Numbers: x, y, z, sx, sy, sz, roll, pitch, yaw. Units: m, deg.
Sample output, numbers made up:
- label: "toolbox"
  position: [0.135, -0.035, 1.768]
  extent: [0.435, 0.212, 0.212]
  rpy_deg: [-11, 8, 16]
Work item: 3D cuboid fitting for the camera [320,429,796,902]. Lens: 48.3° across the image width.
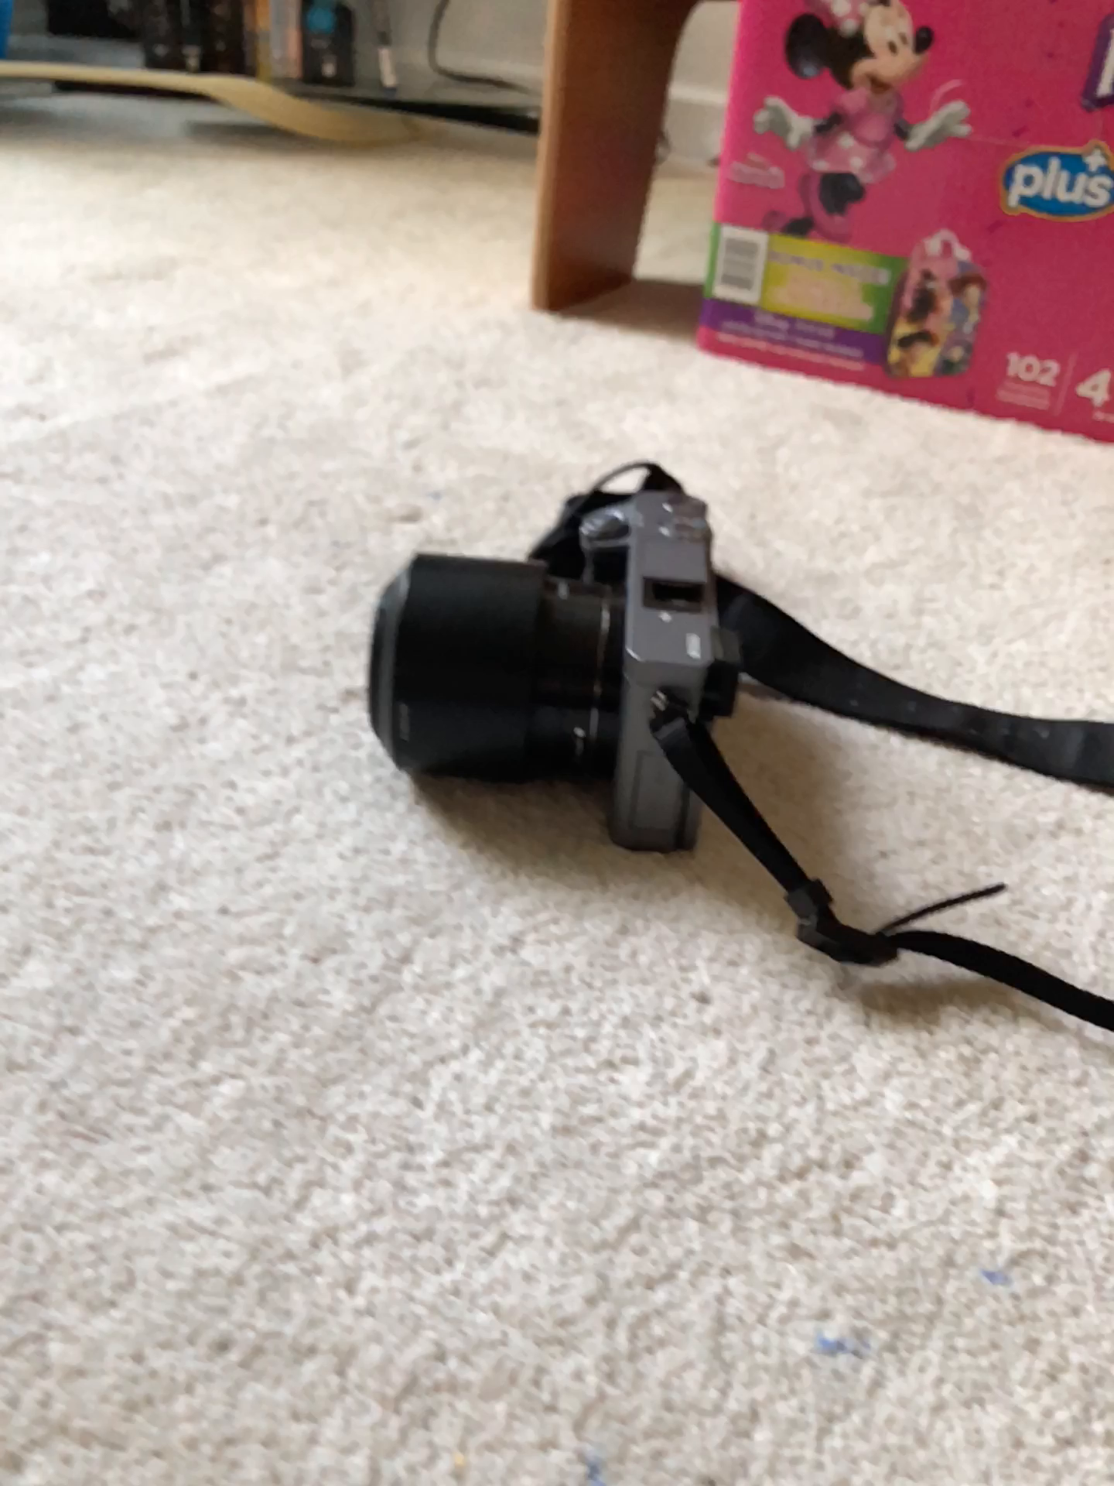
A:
- label: "camera"
  position: [0.001, -0.030, 0.364]
  extent: [0.110, 0.070, 0.141]
  rpy_deg: [5, 32, 0]
